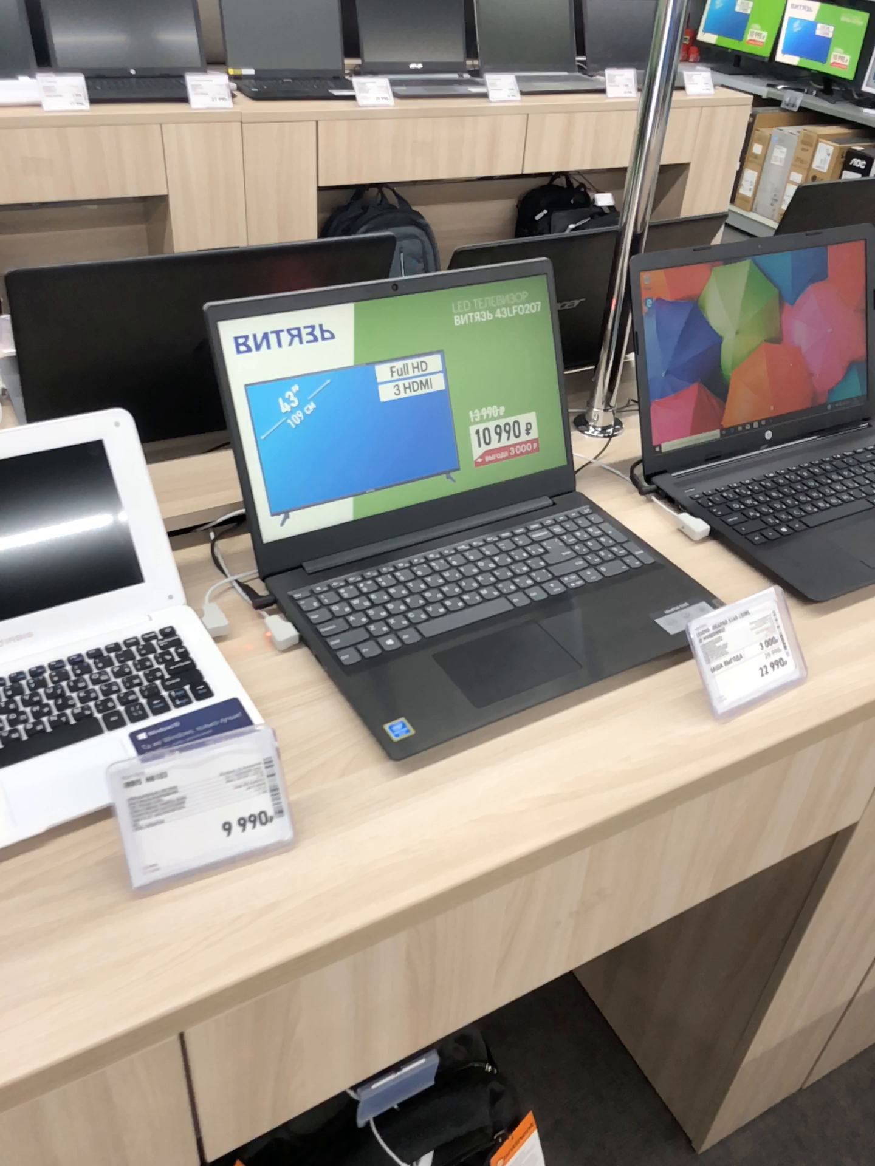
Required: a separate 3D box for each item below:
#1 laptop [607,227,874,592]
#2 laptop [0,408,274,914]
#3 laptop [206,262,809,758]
[{"bbox_3d":[0.444,-0.208,1.007,0.375,0.206,0.322,-16,40,-26],"label":"laptop"},{"bbox_3d":[-0.308,0.023,0.681,0.280,0.139,0.290,-17,41,-28],"label":"laptop"},{"bbox_3d":[0.039,-0.098,0.819,0.355,0.212,0.341,-16,41,-28],"label":"laptop"}]
